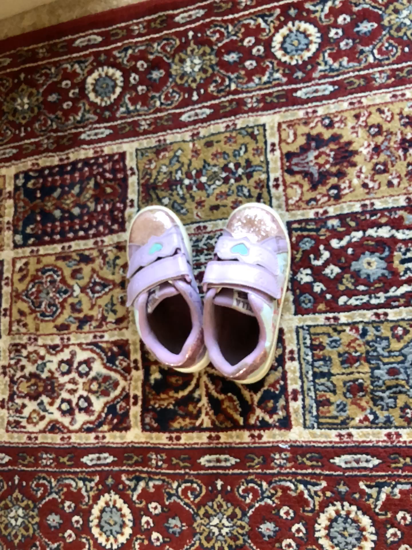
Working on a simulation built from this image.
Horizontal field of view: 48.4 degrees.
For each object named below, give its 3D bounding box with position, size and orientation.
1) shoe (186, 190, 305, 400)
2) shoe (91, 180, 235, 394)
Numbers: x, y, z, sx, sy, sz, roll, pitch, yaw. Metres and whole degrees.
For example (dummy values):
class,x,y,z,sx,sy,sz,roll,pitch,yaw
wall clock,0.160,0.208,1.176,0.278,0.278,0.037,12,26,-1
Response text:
class,x,y,z,sx,sy,sz,roll,pitch,yaw
shoe,0.048,0.021,0.491,0.100,0.090,0.200,2,82,17
shoe,-0.048,0.016,0.523,0.090,0.090,0.209,-19,77,13
